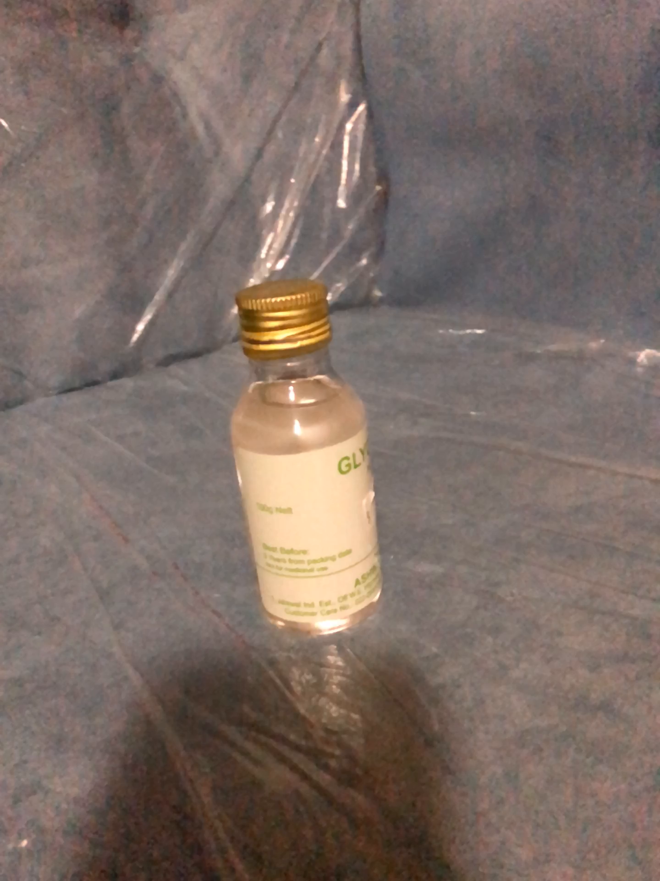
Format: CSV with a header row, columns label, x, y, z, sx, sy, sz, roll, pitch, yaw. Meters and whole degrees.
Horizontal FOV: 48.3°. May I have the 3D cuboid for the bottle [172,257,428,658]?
label,x,y,z,sx,sy,sz,roll,pitch,yaw
bottle,-0.003,0.004,0.212,0.050,0.100,0.050,-5,25,2
